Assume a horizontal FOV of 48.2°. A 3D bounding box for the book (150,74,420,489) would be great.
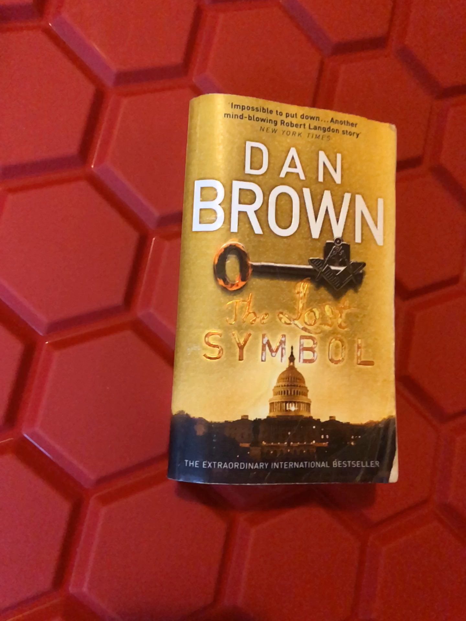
[{"bbox_3d":[0.027,-0.010,0.266,0.122,0.051,0.183,4,83,-15],"label":"book"}]
